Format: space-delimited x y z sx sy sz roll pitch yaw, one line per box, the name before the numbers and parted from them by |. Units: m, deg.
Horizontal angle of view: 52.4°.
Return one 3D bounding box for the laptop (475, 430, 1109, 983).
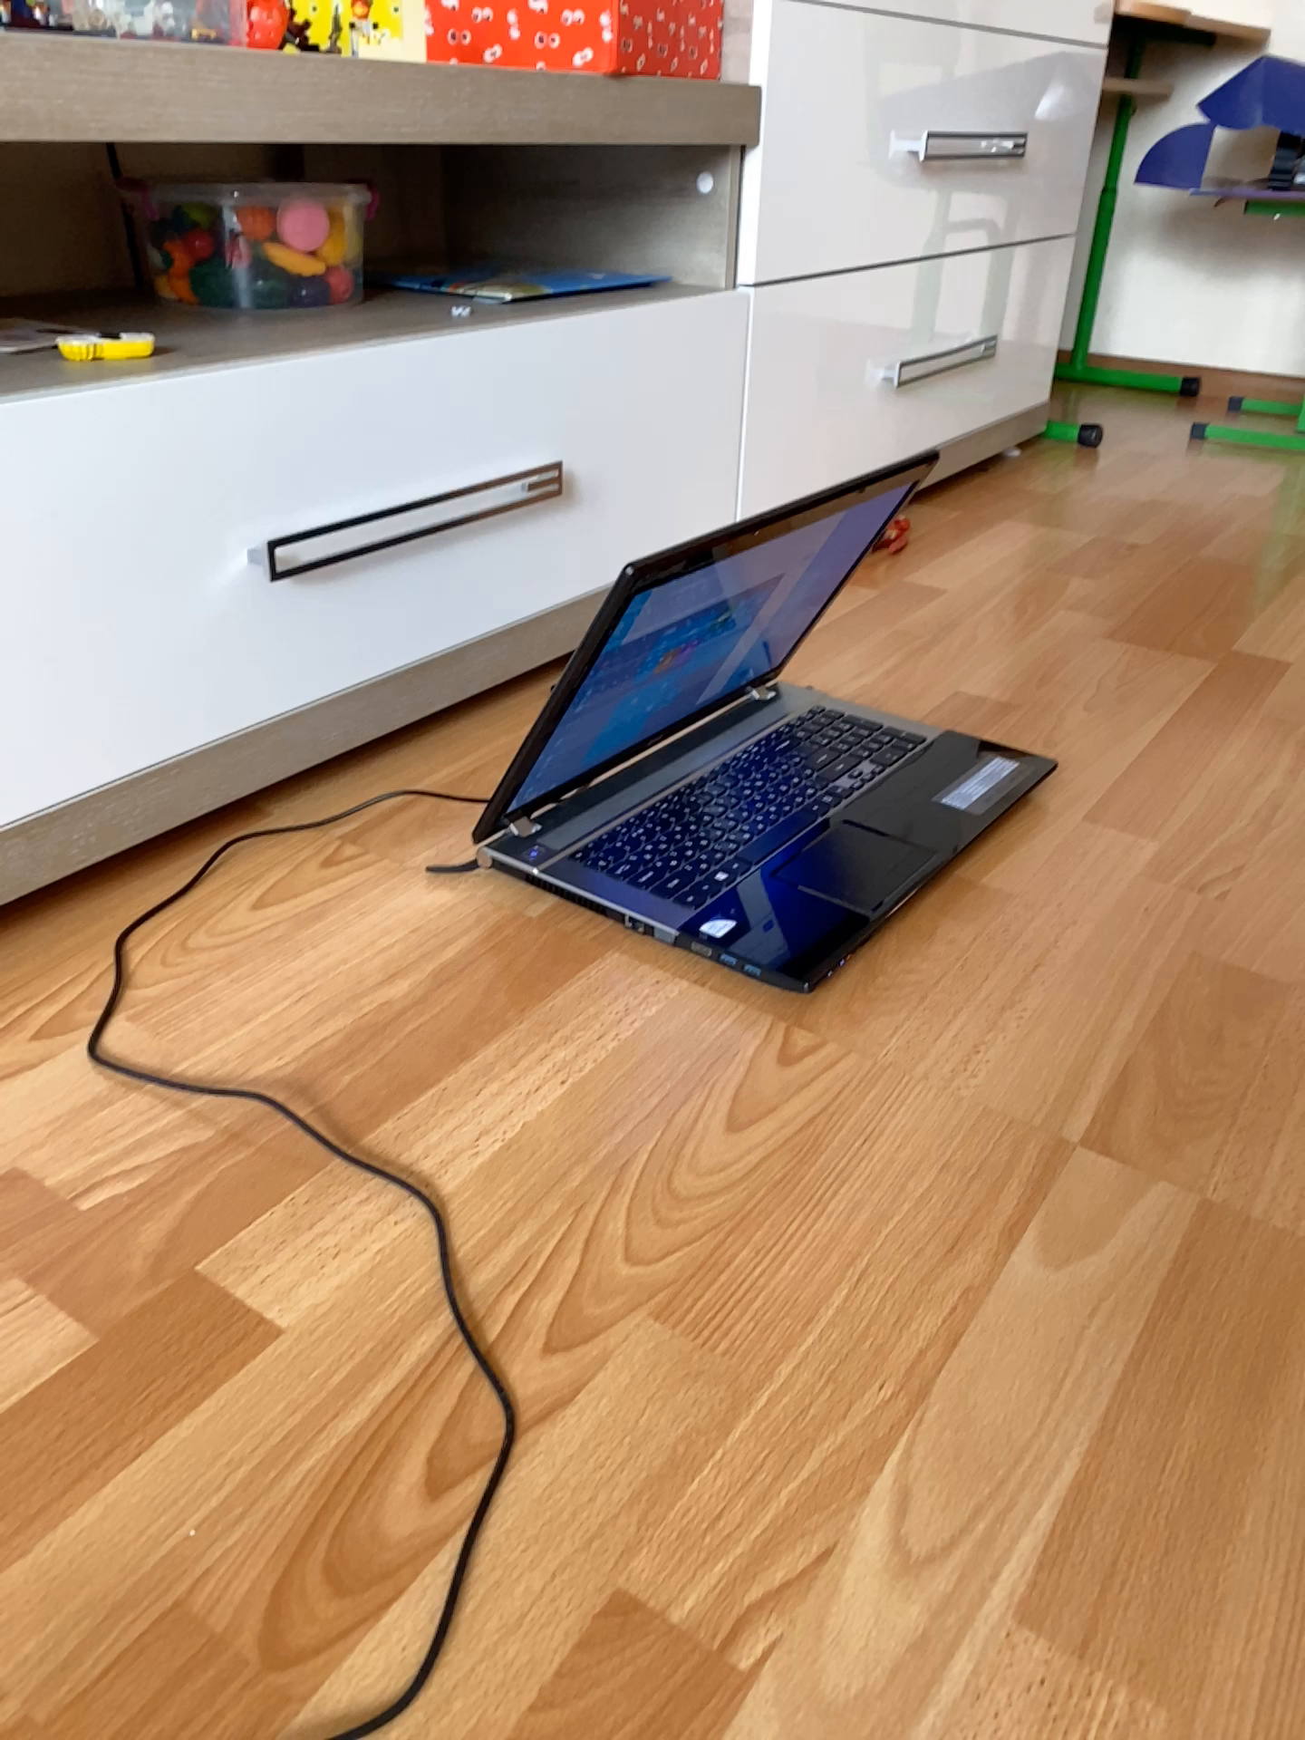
laptop | 0.111 -0.154 0.973 0.269 0.233 0.413 21 34 30
